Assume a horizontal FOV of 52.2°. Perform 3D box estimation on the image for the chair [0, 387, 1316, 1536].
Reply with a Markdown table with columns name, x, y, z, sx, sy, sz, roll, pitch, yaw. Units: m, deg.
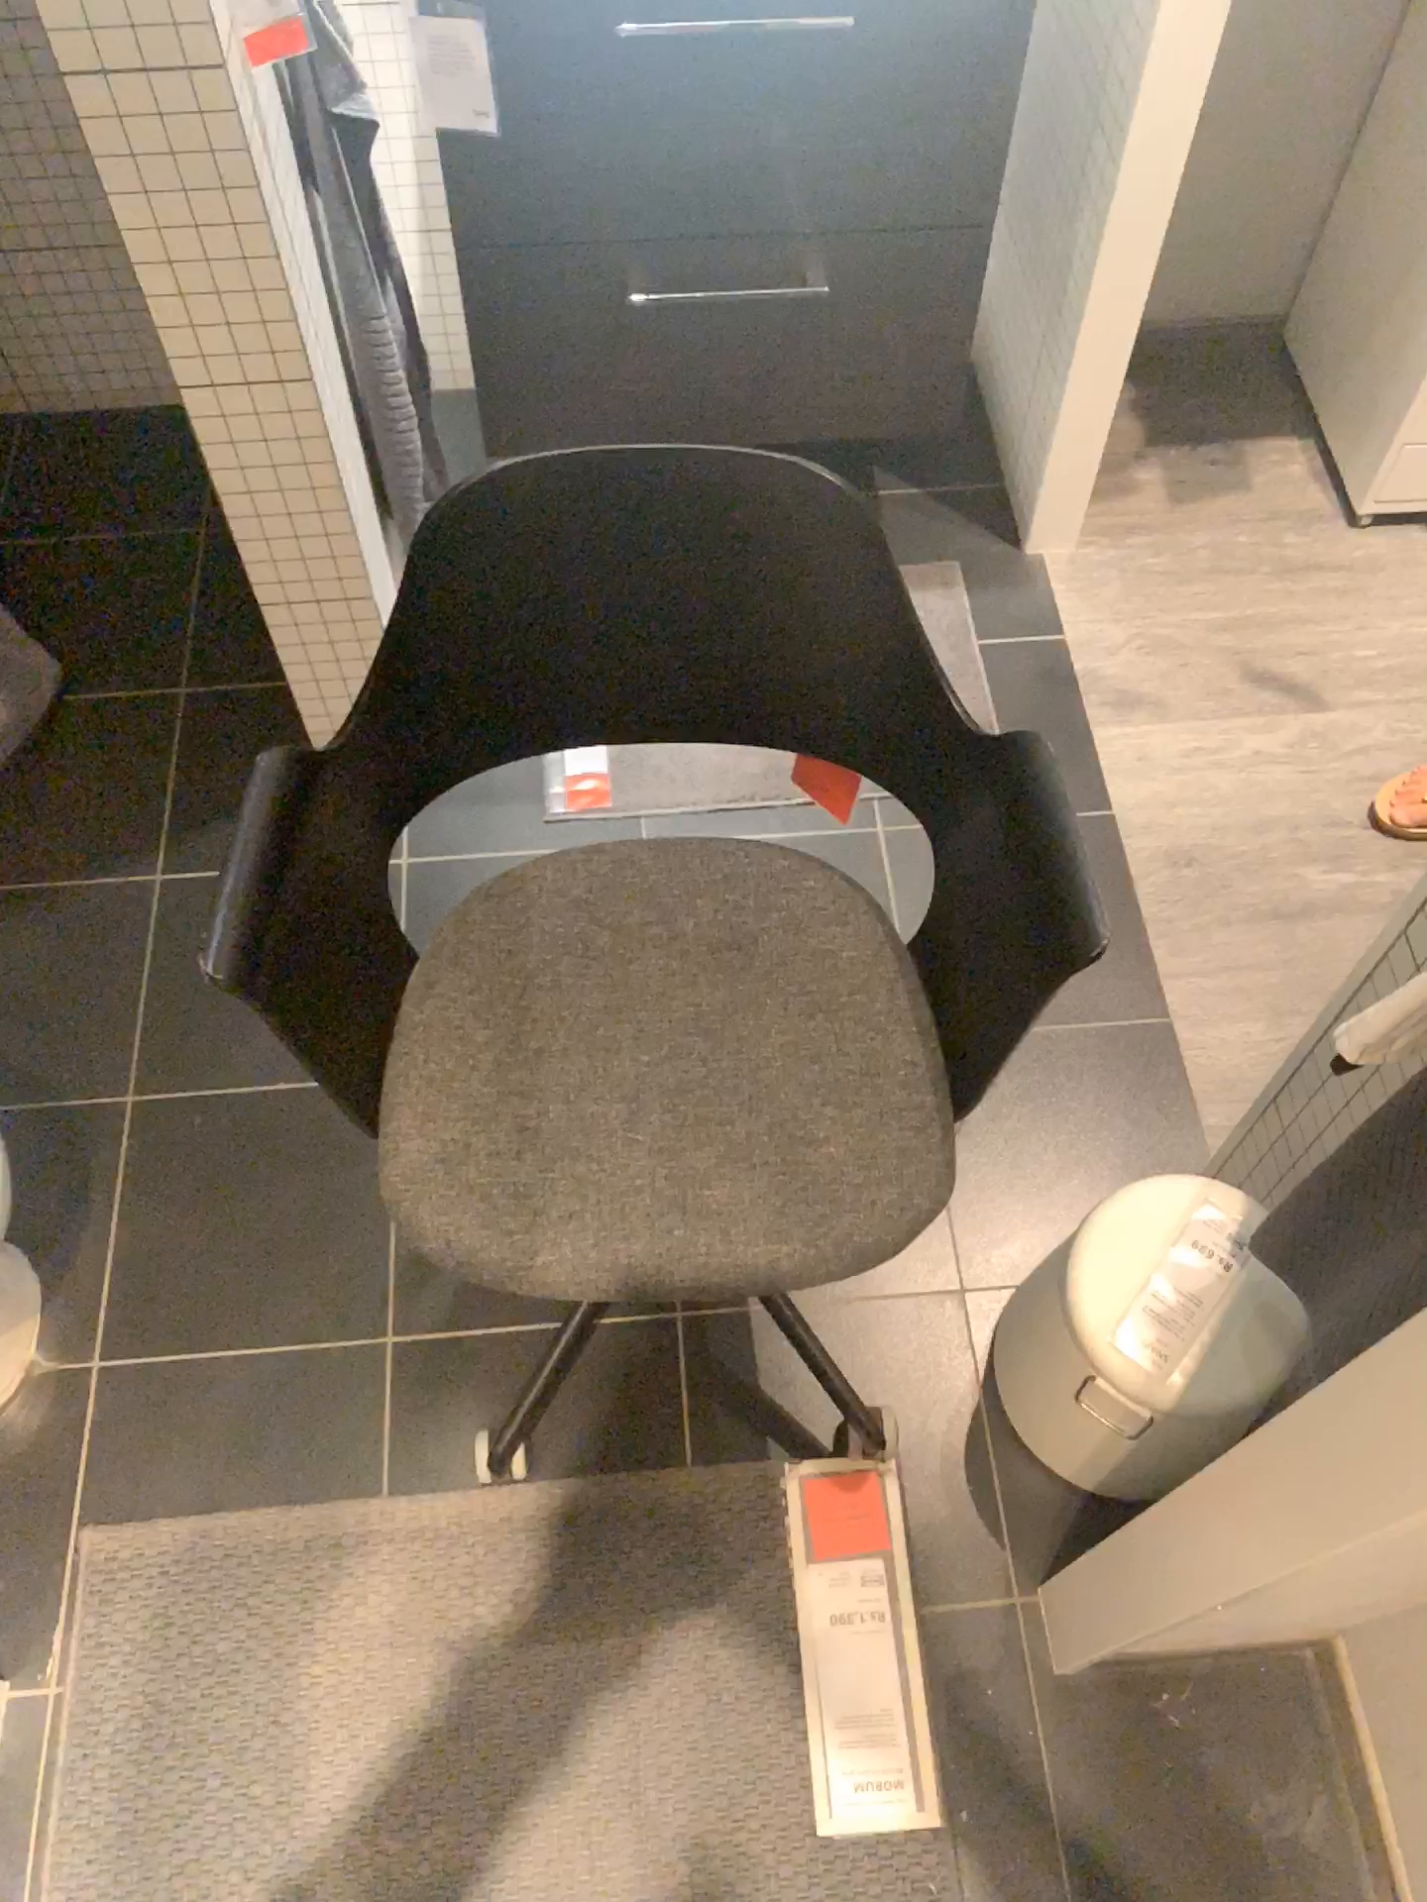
| name | x | y | z | sx | sy | sz | roll | pitch | yaw |
| --- | --- | --- | --- | --- | --- | --- | --- | --- | --- |
| chair | -0.044 | 0.068 | 1.179 | 0.640 | 0.738 | 0.601 | -4 | 59 | -2 |
